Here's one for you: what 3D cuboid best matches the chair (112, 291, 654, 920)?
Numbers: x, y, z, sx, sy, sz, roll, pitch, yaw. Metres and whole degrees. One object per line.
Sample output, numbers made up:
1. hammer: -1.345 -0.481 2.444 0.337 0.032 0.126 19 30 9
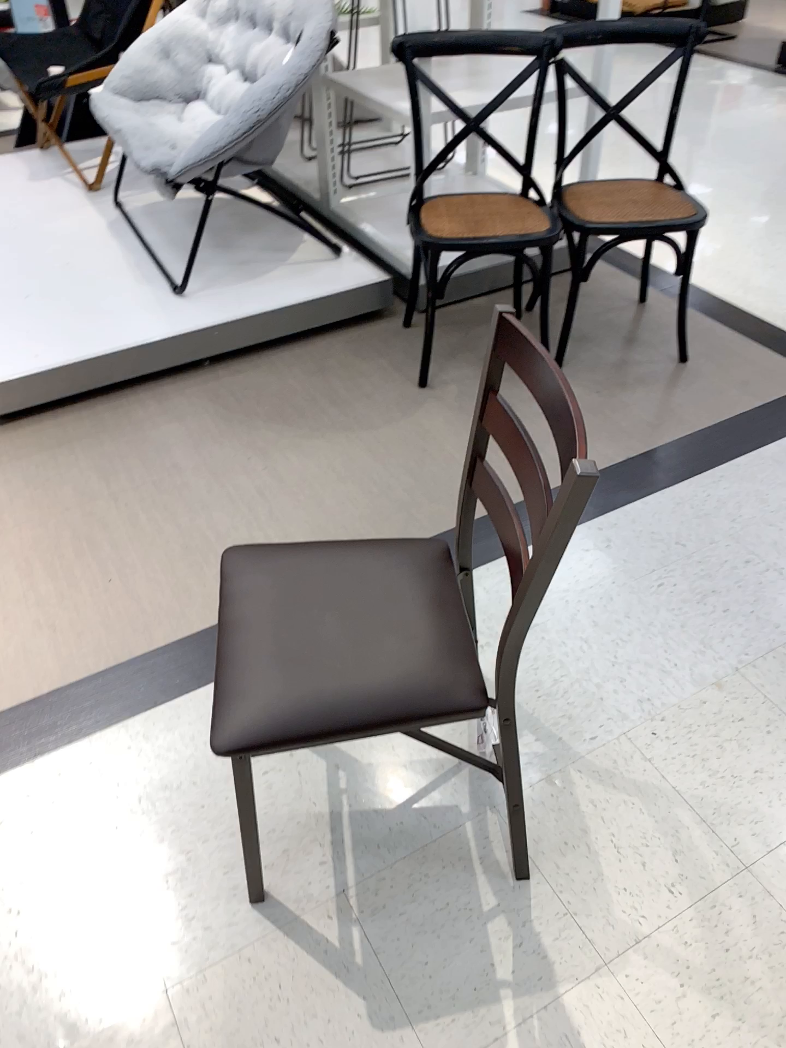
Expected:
1. chair: -0.018 0.156 1.201 0.520 0.826 0.442 -5 41 -4
